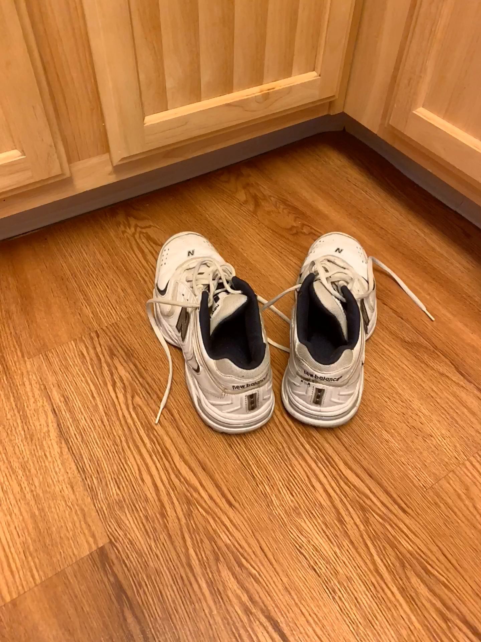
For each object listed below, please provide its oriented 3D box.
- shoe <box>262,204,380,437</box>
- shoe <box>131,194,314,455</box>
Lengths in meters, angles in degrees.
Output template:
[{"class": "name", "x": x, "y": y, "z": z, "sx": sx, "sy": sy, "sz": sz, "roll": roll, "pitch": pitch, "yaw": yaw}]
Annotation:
[{"class": "shoe", "x": 0.108, "y": -0.013, "z": 0.633, "sx": 0.110, "sy": 0.109, "sz": 0.281, "roll": 10, "pitch": 50, "yaw": 6}, {"class": "shoe", "x": -0.034, "y": -0.011, "z": 0.571, "sx": 0.110, "sy": 0.109, "sz": 0.281, "roll": -15, "pitch": 52, "yaw": -14}]
